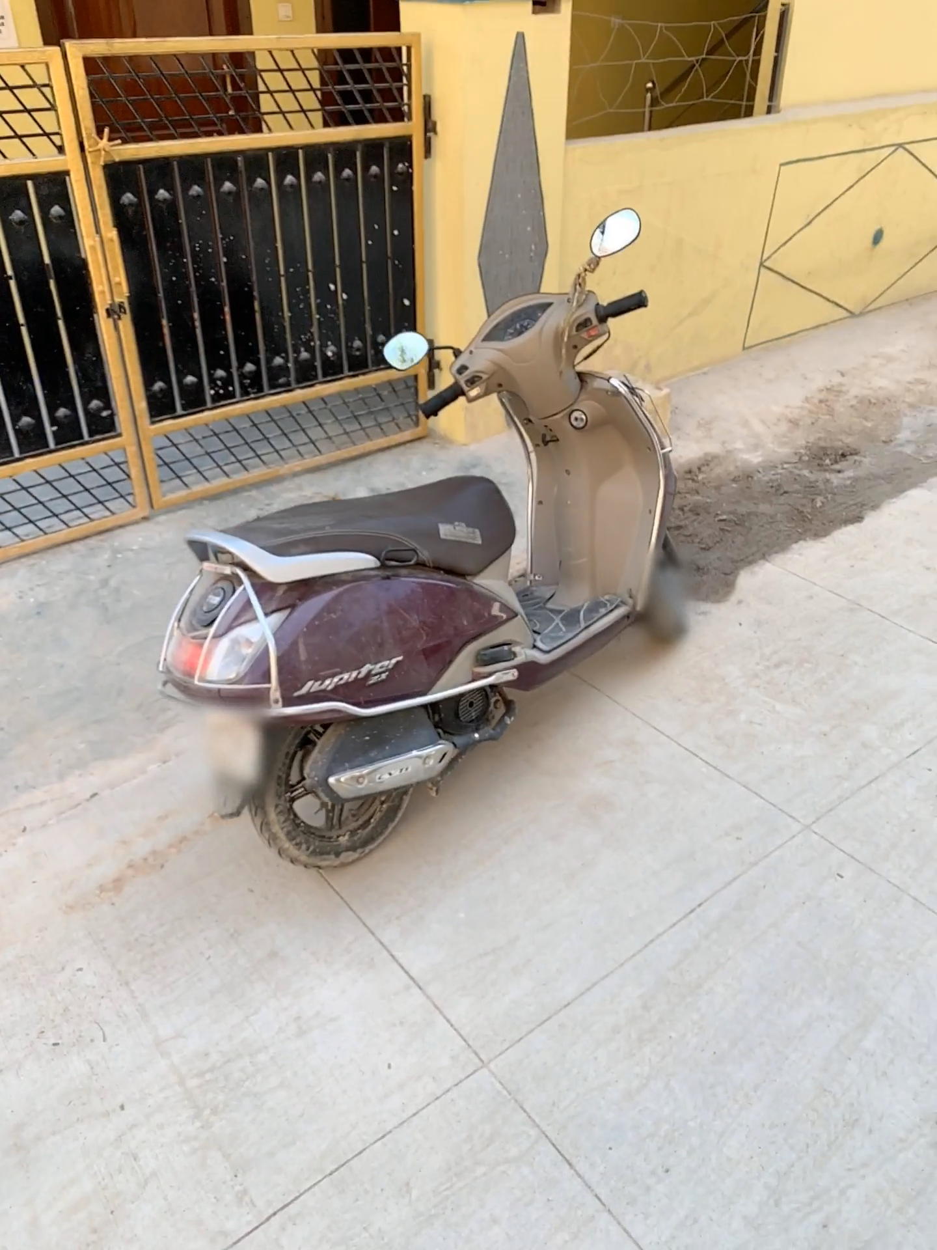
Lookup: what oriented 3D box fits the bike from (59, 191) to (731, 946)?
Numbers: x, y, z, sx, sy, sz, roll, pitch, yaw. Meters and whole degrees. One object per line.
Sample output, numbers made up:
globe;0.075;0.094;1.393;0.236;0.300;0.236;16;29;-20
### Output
bike;-0.066;-0.260;2.454;0.615;1.158;1.529;25;44;33
